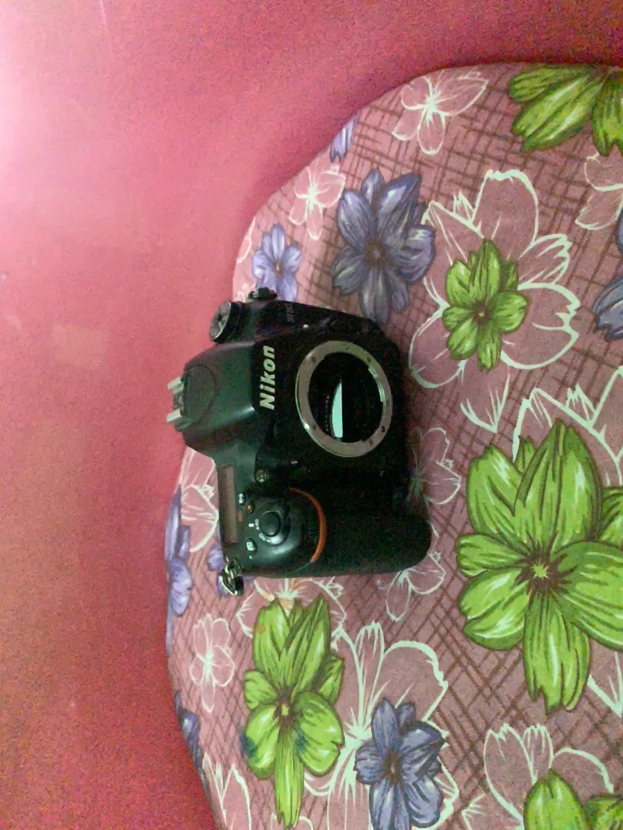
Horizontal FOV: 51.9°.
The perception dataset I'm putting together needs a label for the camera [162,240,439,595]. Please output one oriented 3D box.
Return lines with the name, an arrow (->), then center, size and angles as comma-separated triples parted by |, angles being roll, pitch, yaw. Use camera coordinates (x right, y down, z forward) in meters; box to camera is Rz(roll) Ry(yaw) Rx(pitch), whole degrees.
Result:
camera -> -0.009, 0.009, 0.311 | 0.093, 0.089, 0.140 | -14, 75, 48
